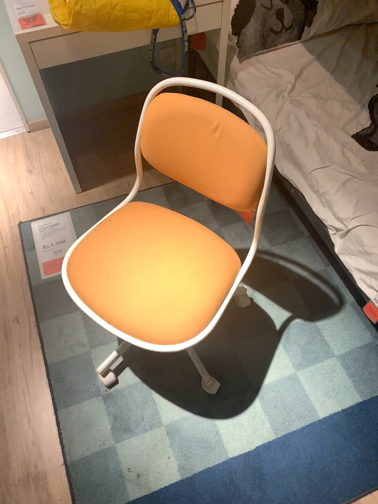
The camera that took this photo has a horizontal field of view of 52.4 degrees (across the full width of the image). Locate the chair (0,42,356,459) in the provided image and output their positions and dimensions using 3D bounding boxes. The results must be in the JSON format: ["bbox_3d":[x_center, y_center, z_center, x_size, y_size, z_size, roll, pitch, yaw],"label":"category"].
[{"bbox_3d":[-0.107,0.035,1.038,0.611,0.709,0.651,34,65,19],"label":"chair"}]
